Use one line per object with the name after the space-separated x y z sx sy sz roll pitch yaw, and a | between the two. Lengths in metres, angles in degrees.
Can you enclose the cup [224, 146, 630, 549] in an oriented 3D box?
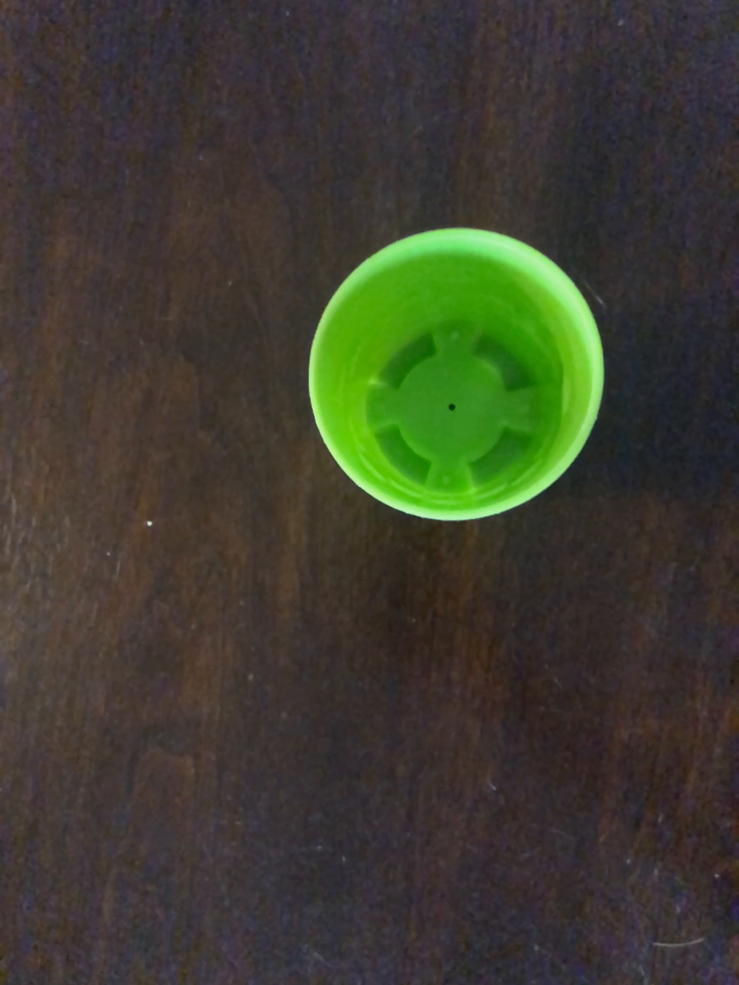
0.016 -0.033 0.231 0.070 0.090 0.070 0 90 6 | cup
